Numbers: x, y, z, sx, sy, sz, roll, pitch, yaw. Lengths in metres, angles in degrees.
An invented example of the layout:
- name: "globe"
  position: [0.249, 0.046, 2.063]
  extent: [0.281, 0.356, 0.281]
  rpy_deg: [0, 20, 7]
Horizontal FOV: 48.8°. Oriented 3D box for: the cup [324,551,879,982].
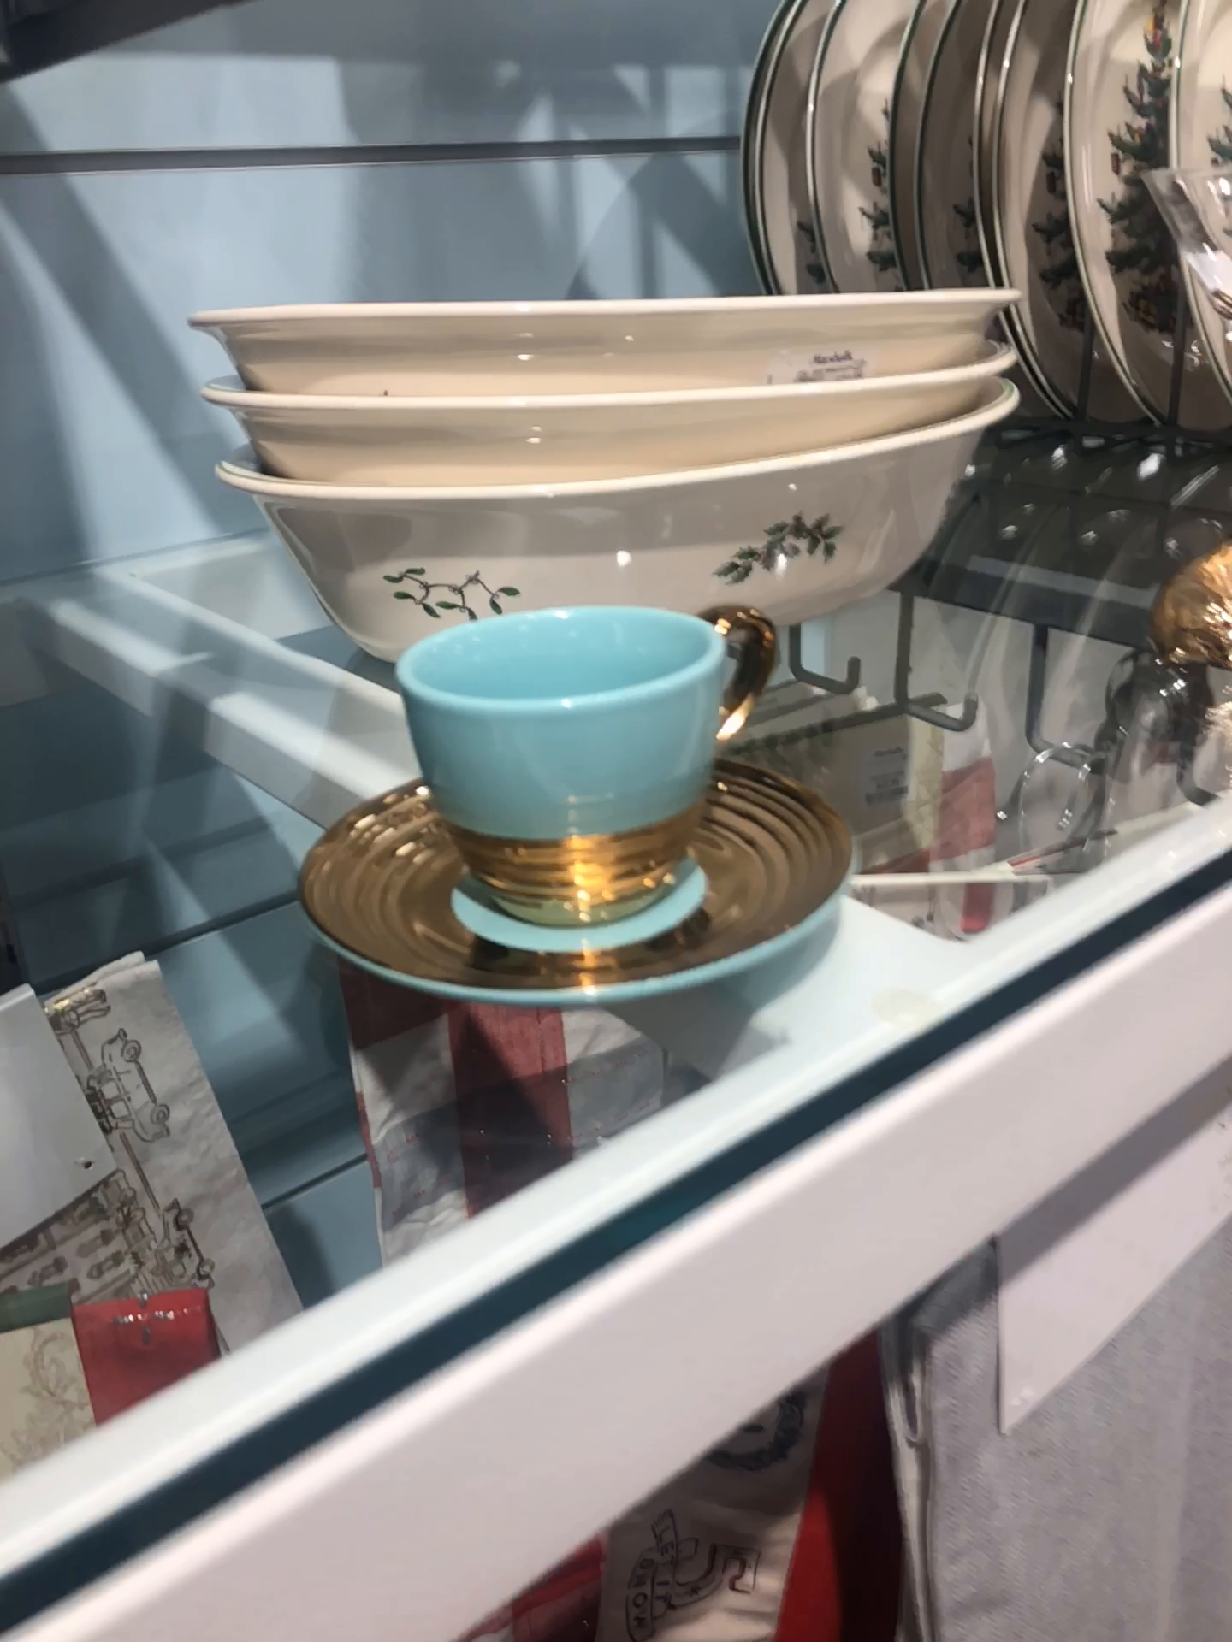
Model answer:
- name: "cup"
  position: [-0.001, -0.017, 0.277]
  extent: [0.084, 0.050, 0.070]
  rpy_deg: [-24, 31, -38]
